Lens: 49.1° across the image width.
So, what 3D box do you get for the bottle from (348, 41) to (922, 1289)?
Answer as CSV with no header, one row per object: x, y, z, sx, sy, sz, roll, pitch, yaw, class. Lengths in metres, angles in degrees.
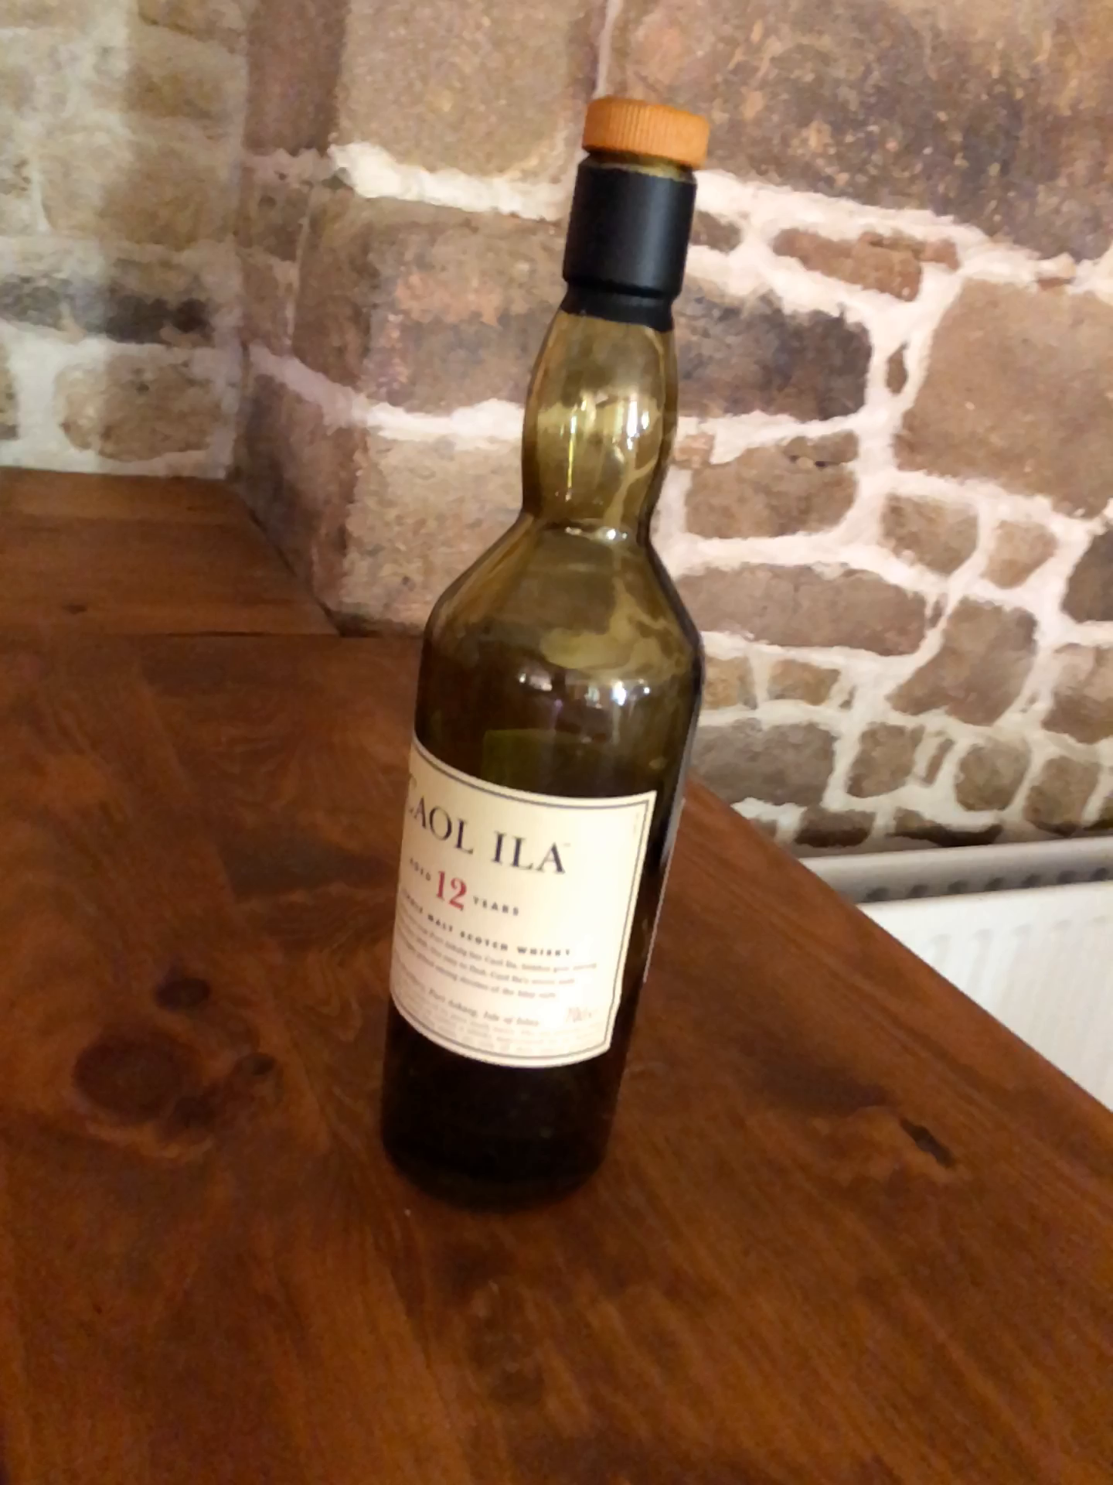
0.012,-0.010,0.328,0.080,0.298,0.070,19,22,24,bottle
